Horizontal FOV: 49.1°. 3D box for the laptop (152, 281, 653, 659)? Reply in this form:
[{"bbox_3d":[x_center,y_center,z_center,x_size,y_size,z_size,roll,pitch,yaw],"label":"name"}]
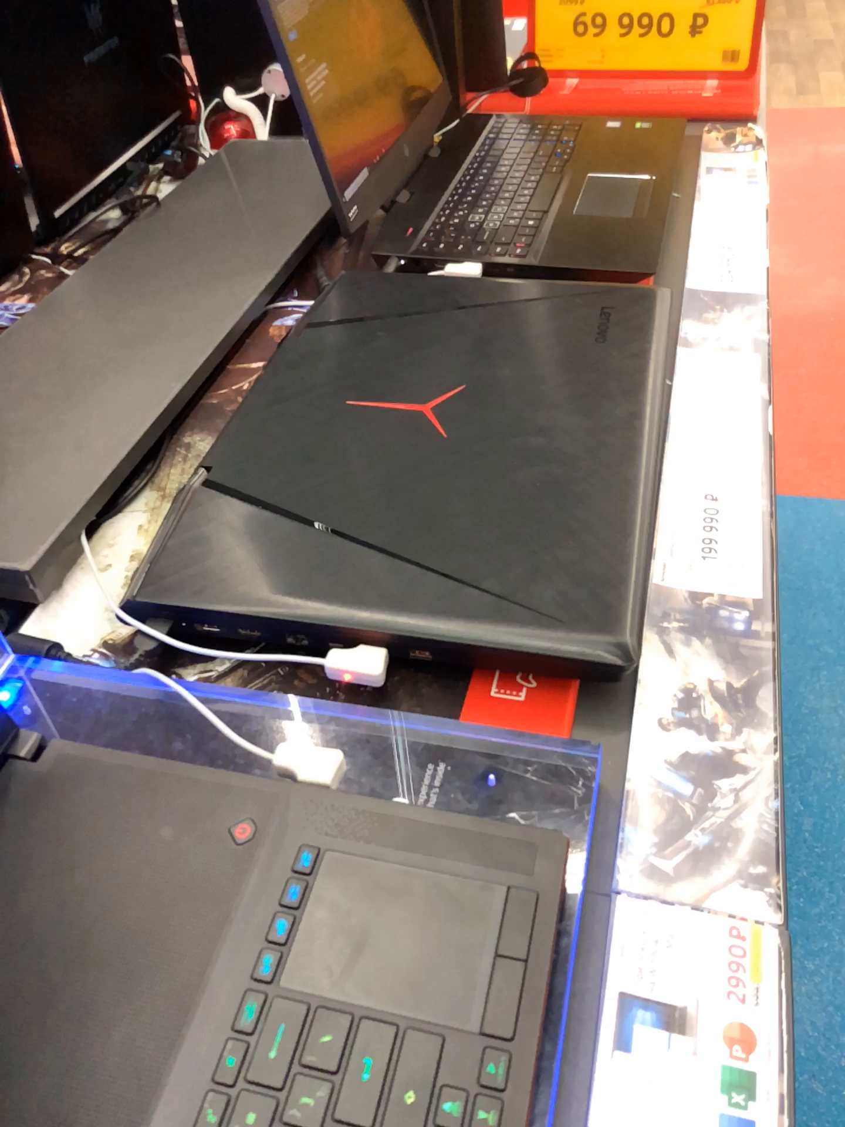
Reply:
[{"bbox_3d":[0.018,-0.099,0.643,0.269,0.005,0.401,5,43,11],"label":"laptop"}]
